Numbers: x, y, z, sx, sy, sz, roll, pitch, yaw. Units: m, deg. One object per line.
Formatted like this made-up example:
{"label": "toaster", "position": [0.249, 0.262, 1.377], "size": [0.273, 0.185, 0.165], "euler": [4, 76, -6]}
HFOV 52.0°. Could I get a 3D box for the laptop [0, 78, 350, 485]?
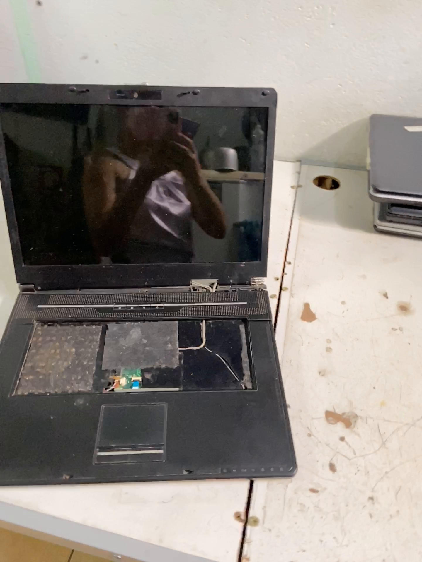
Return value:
{"label": "laptop", "position": [-0.086, -0.025, 0.487], "size": [0.344, 0.235, 0.381], "euler": [0, 46, -2]}
